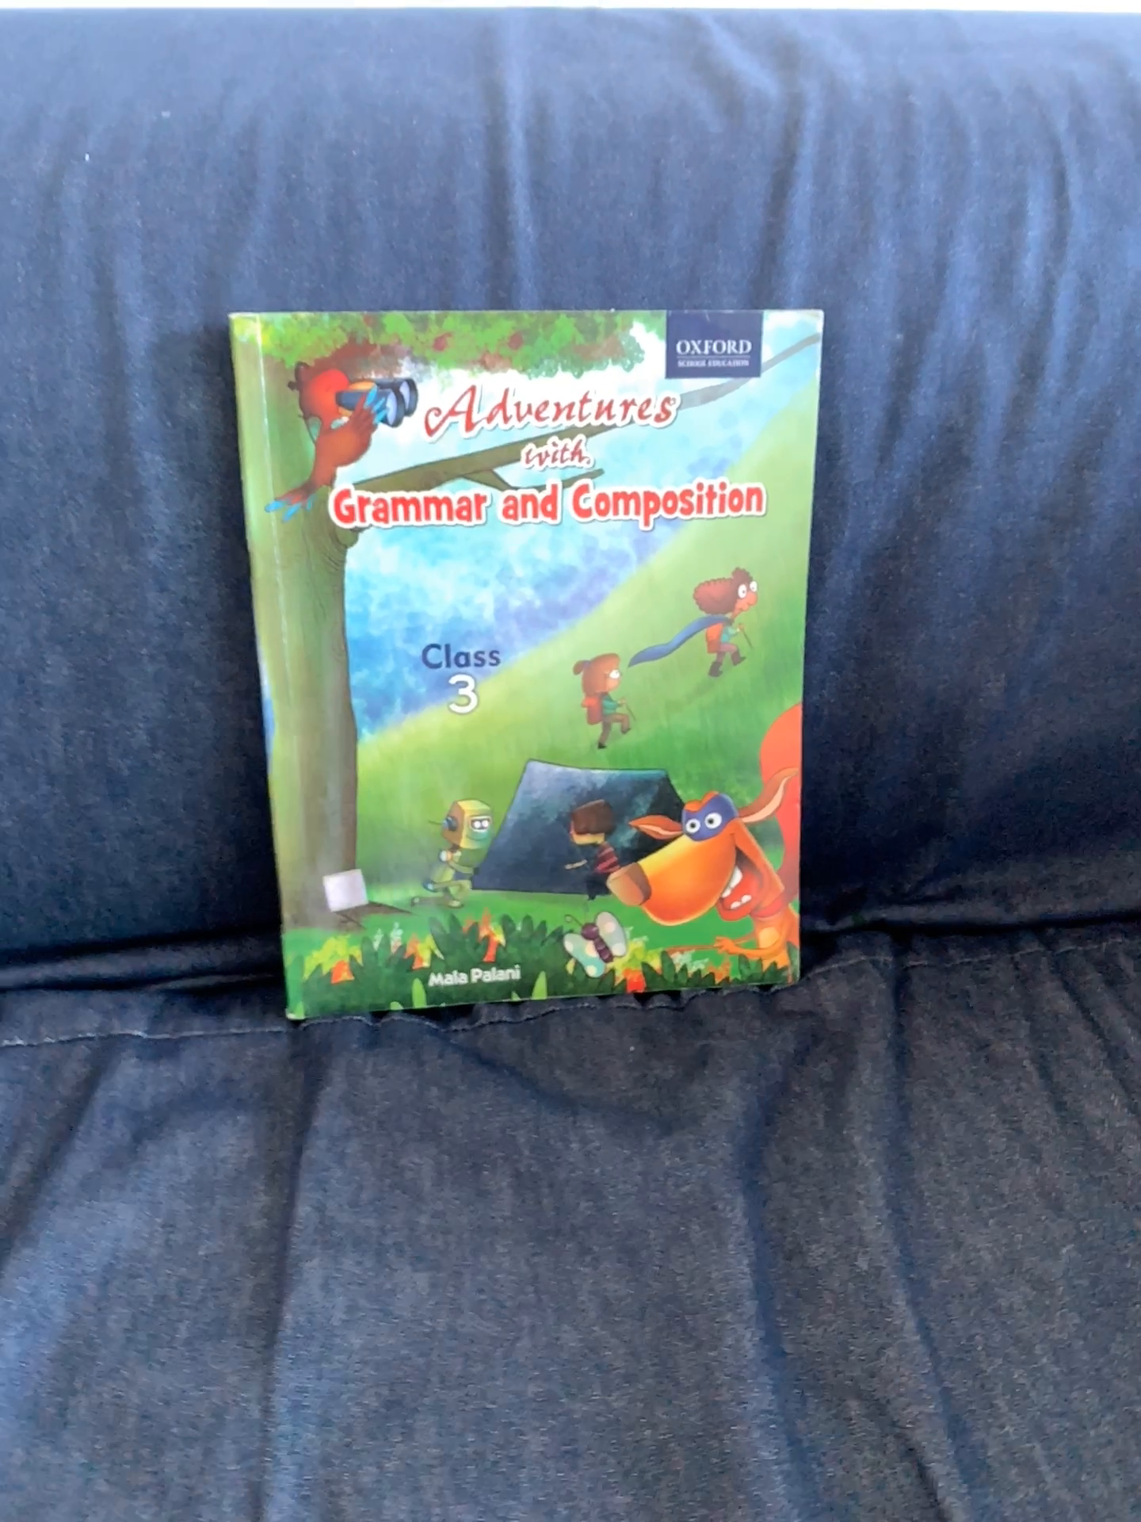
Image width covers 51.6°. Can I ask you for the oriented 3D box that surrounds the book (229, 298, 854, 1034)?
[{"bbox_3d":[-0.007,-0.031,0.450,0.212,0.269,0.030,-2,16,-5],"label":"book"}]
